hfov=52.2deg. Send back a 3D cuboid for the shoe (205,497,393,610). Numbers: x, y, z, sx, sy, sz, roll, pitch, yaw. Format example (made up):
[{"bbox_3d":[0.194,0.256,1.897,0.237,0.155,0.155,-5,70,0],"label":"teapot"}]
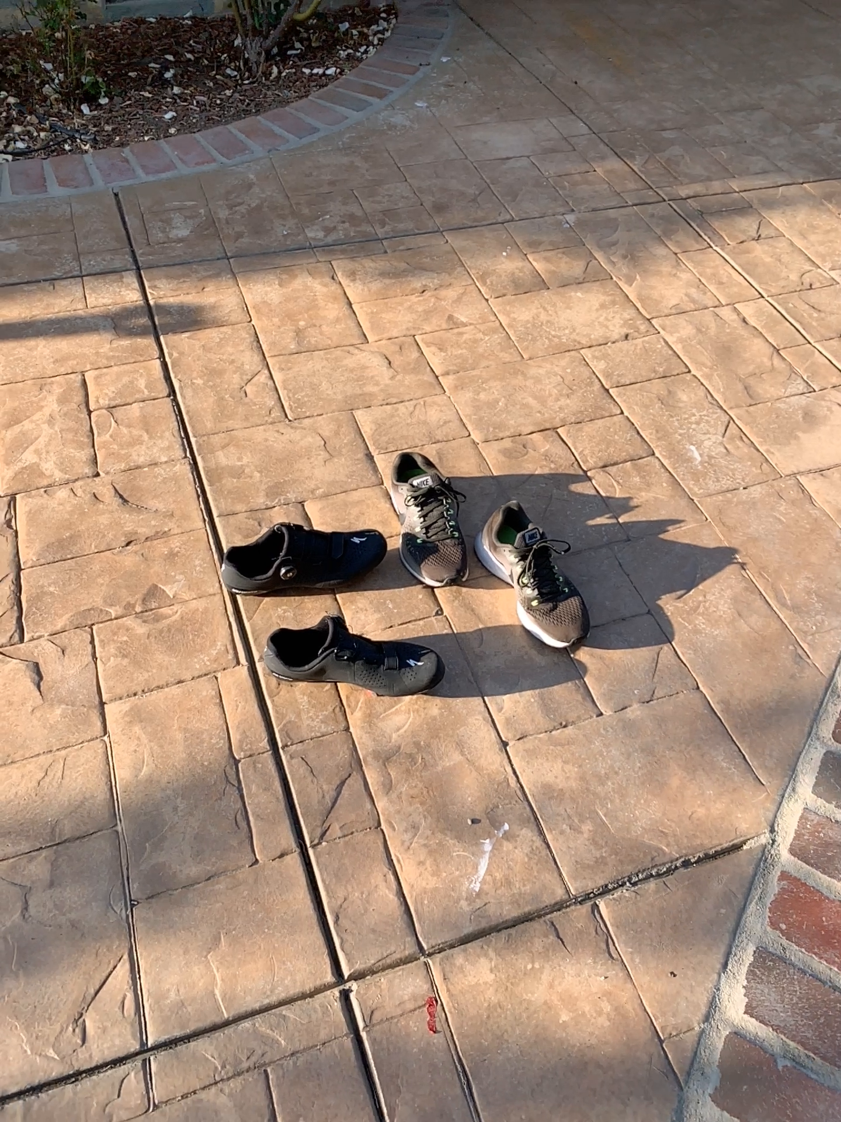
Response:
[{"bbox_3d":[-0.198,-0.016,1.404,0.280,0.050,0.131,-12,51,-13],"label":"shoe"}]

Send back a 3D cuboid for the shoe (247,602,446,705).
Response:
[{"bbox_3d":[-0.108,0.138,1.294,0.280,0.050,0.111,7,49,4],"label":"shoe"}]

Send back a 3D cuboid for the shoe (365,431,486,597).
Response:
[{"bbox_3d":[0.002,-0.089,1.496,0.130,0.090,0.291,-11,50,-12],"label":"shoe"}]

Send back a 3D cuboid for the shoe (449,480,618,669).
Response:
[{"bbox_3d":[0.178,0.016,1.429,0.130,0.109,0.291,-20,53,-19],"label":"shoe"}]
